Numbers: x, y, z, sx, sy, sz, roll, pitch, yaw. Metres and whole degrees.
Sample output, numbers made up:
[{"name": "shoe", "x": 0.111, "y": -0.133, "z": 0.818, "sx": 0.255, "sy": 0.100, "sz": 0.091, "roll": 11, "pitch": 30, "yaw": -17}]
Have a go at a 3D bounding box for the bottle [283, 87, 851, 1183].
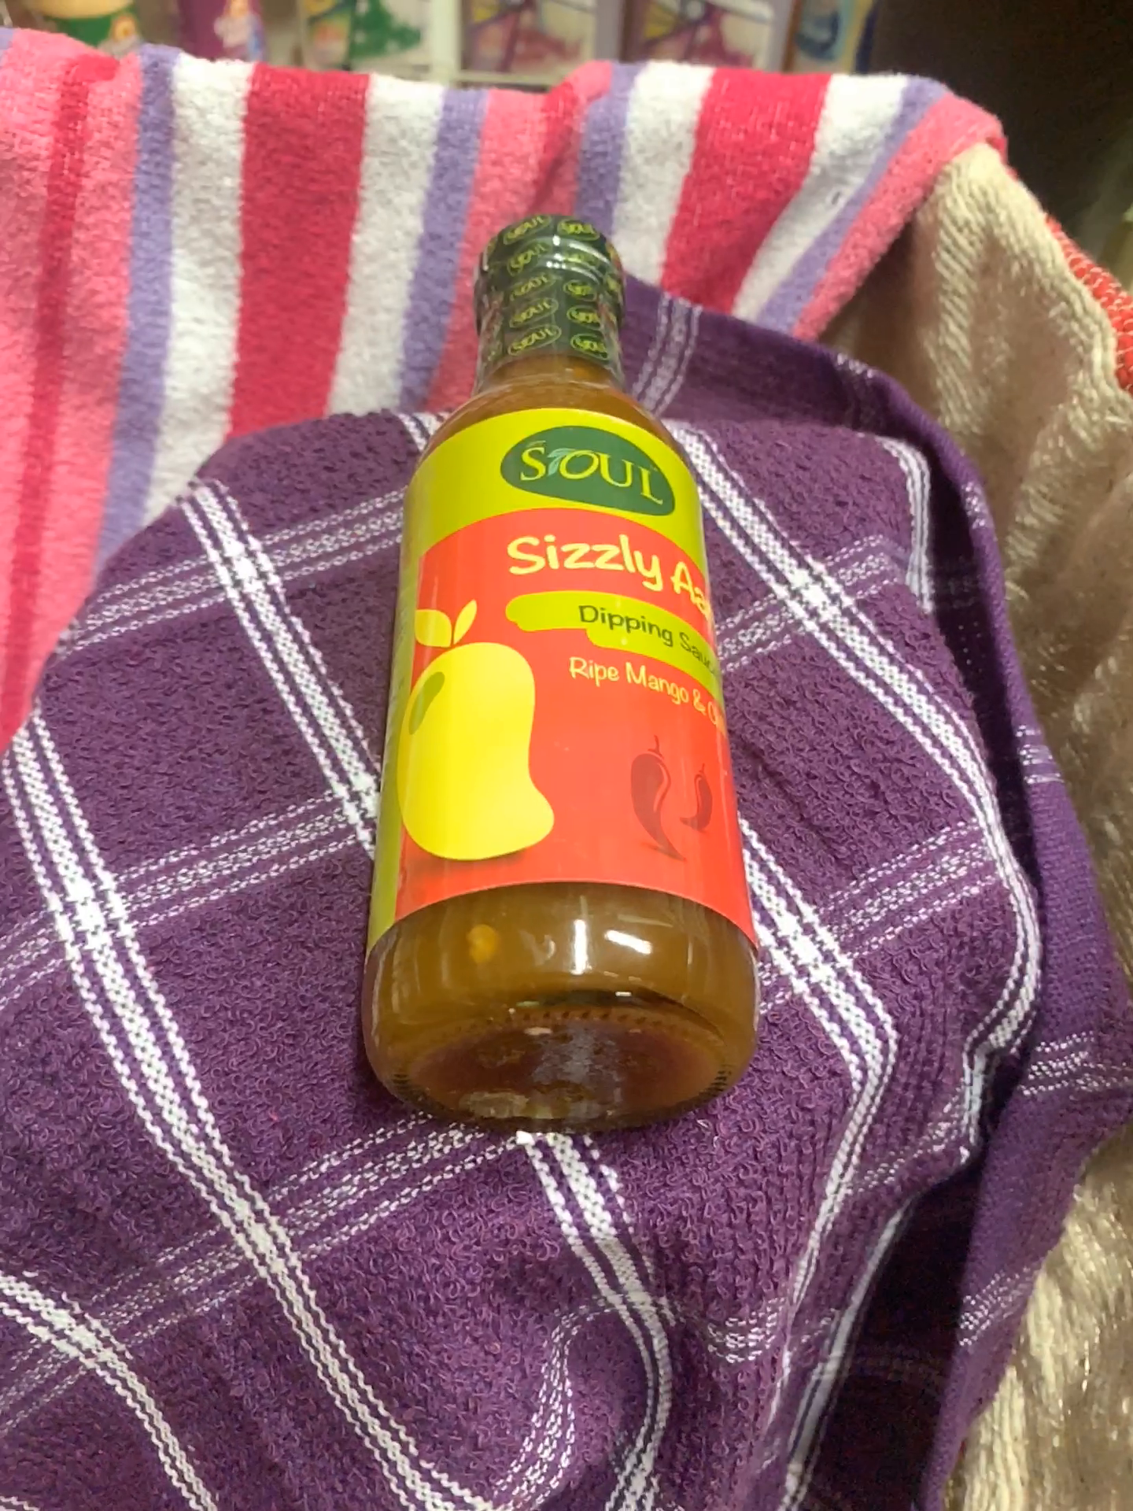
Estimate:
[{"name": "bottle", "x": -0.002, "y": -0.036, "z": 0.207, "sx": 0.060, "sy": 0.060, "sz": 0.201, "roll": 0, "pitch": 55, "yaw": -2}]
